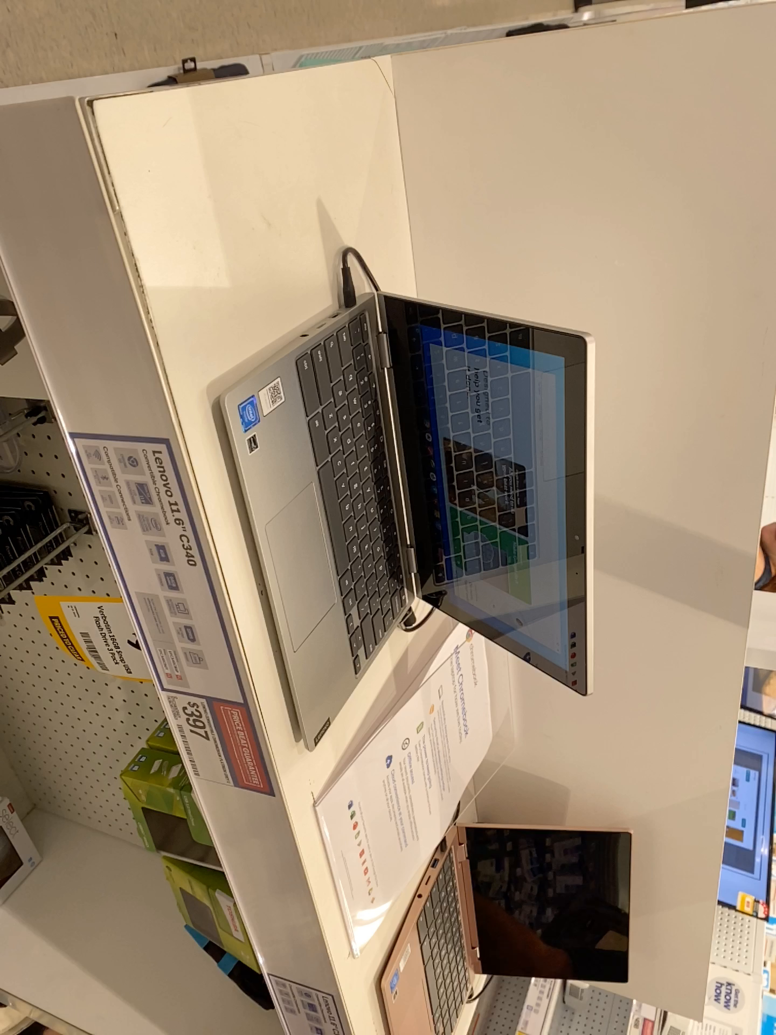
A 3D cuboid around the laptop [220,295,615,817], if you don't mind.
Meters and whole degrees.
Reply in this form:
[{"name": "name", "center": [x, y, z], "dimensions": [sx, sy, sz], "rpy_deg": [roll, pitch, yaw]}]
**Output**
[{"name": "laptop", "center": [0.046, 0.014, 0.564], "dimensions": [0.201, 0.180, 0.284], "rpy_deg": [-49, 139, -49]}]
